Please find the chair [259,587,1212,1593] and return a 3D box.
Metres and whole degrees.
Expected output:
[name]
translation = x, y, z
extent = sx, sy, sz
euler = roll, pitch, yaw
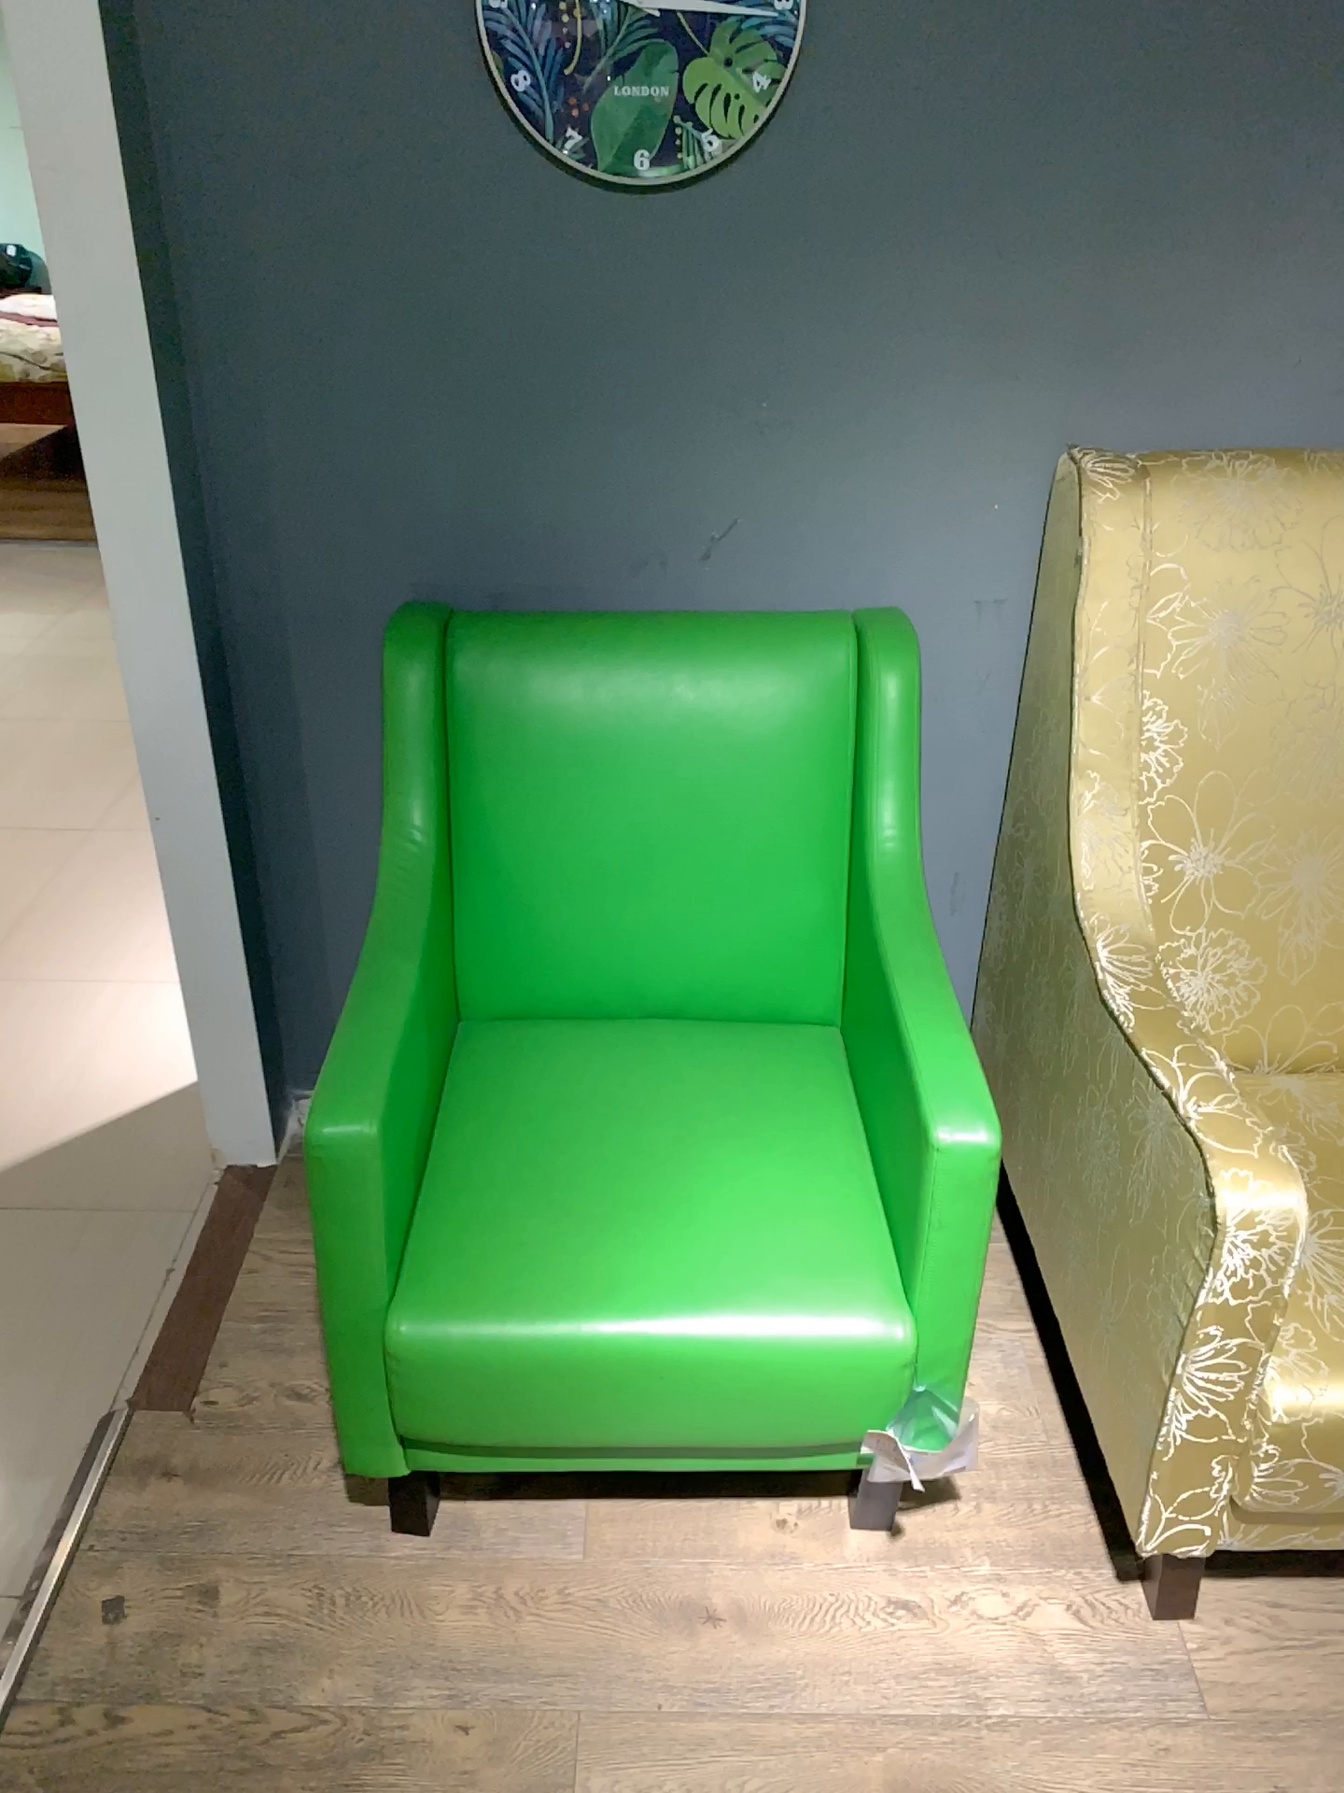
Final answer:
[chair]
translation = 0.041, 0.163, 1.567
extent = 0.710, 0.787, 0.814
euler = 1, 30, 0
